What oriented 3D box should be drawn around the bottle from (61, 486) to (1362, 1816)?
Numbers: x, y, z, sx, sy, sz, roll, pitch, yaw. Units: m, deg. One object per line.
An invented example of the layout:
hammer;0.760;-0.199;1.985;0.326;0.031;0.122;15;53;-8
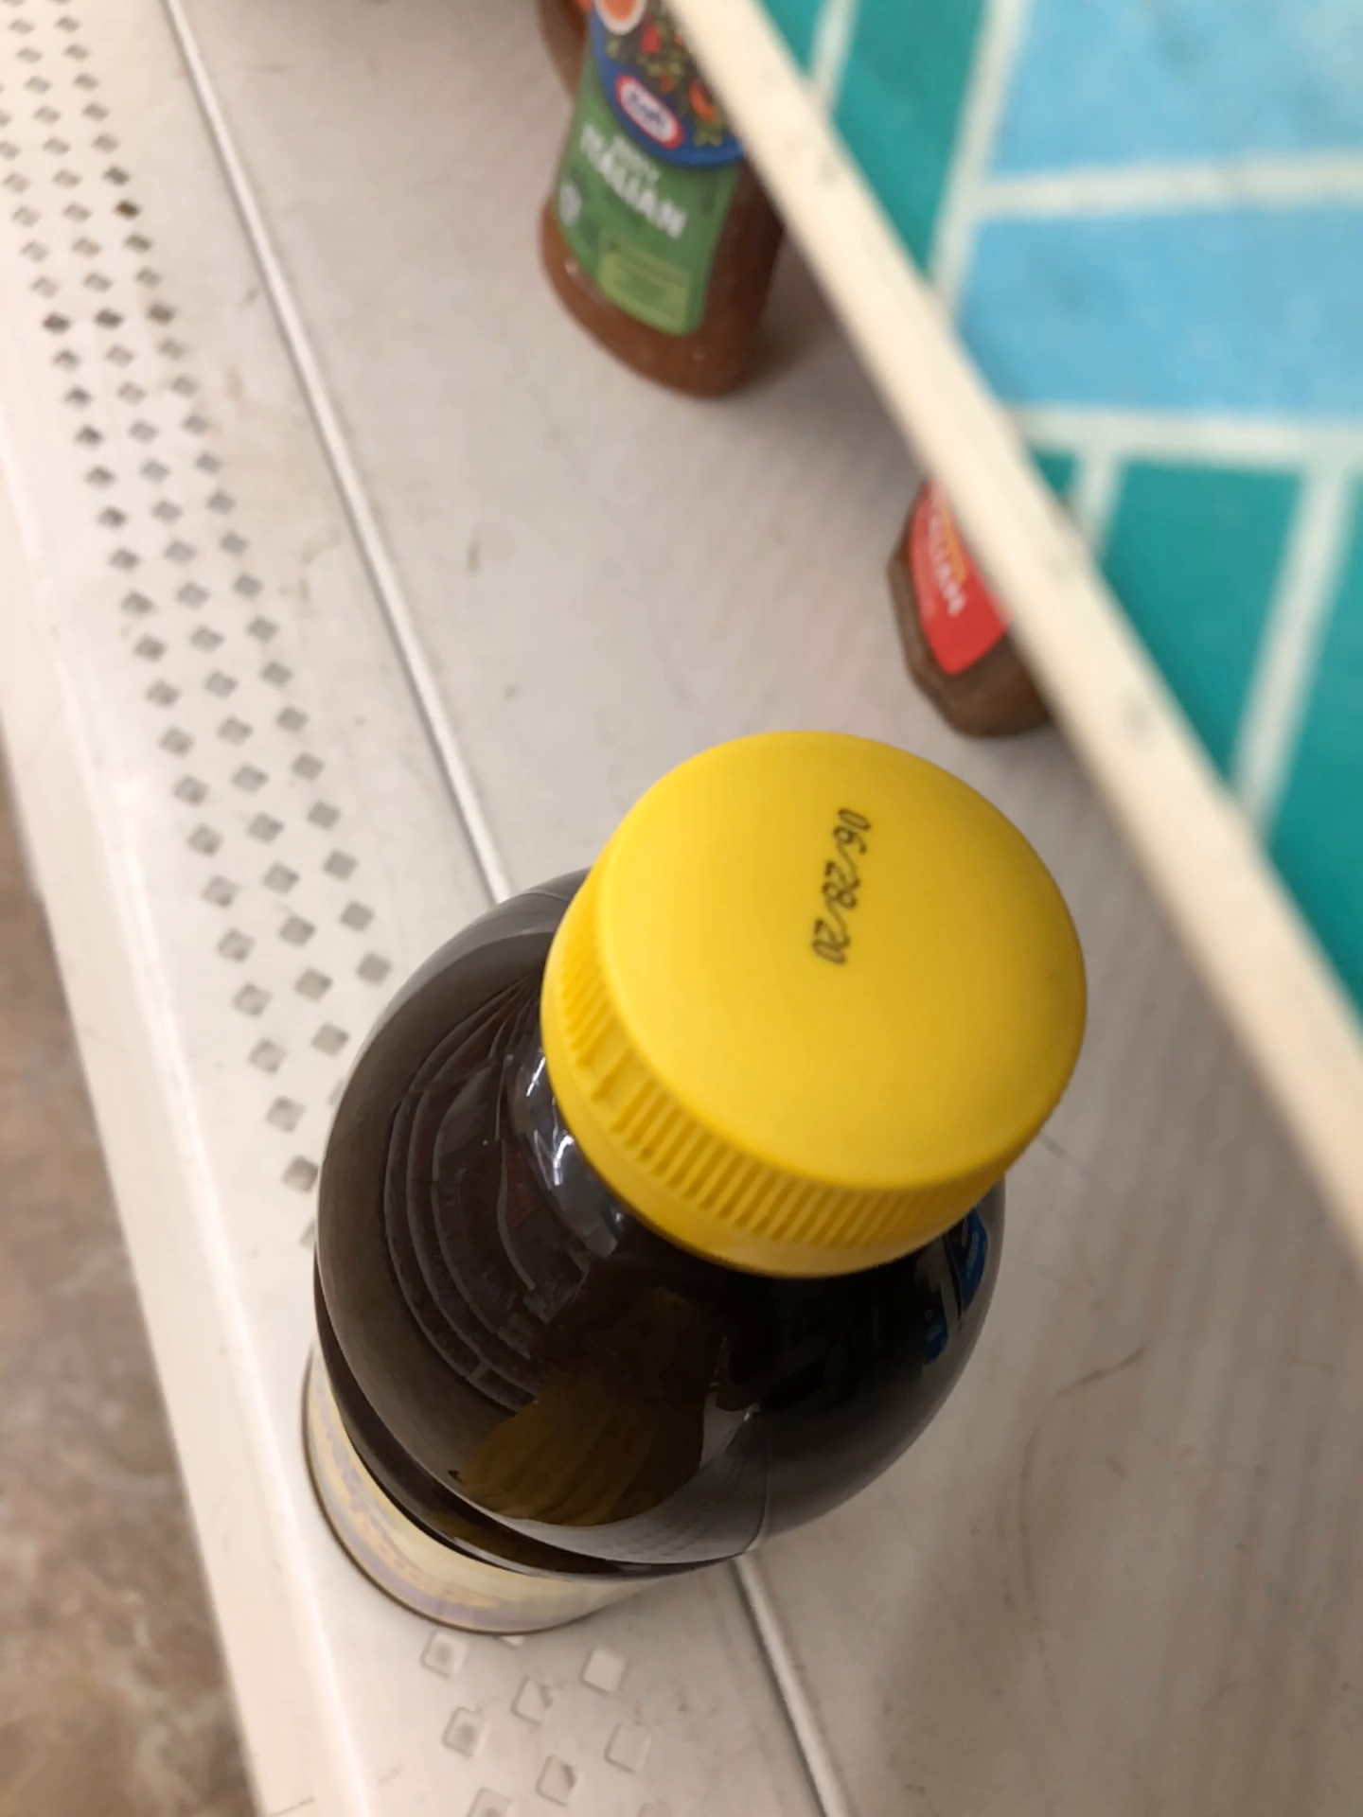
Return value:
bottle;-0.013;0.048;0.187;0.080;0.181;0.080;6;61;-11
